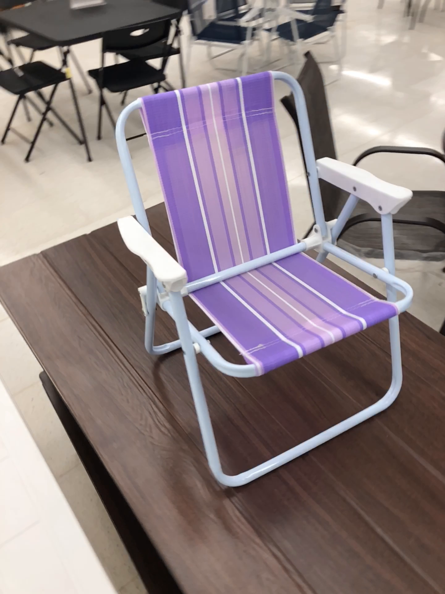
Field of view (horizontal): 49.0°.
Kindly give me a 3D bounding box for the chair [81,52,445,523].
[{"bbox_3d":[0.100,-0.039,0.718,0.421,0.437,0.392,-21,46,-20],"label":"chair"}]
